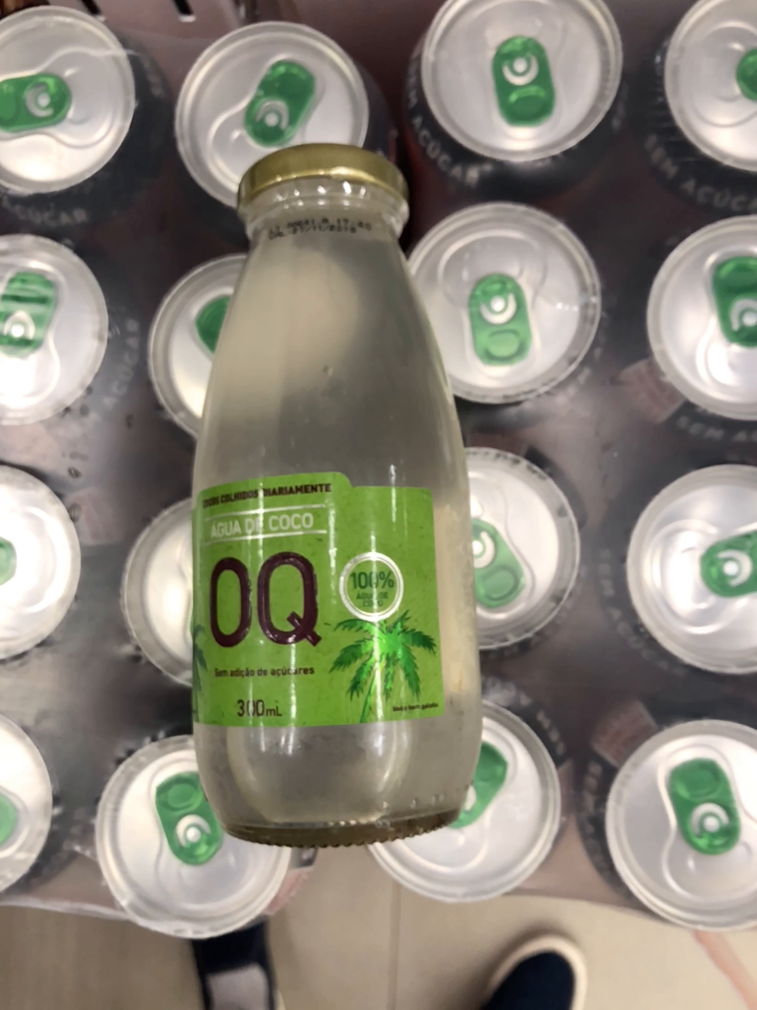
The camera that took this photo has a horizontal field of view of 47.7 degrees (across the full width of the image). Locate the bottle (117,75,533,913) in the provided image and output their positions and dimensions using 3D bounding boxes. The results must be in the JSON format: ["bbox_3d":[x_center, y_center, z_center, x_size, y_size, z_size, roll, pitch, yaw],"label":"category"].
[{"bbox_3d":[-0.009,-0.001,0.194,0.070,0.060,0.150,-3,83,23],"label":"bottle"}]
